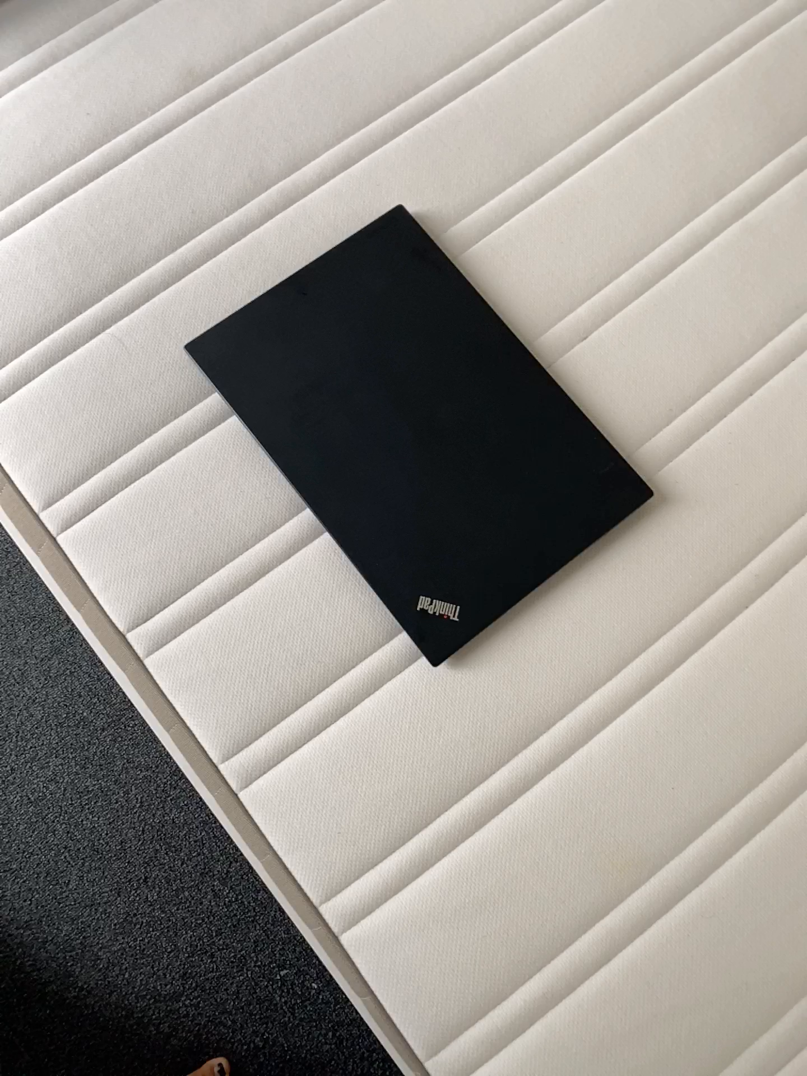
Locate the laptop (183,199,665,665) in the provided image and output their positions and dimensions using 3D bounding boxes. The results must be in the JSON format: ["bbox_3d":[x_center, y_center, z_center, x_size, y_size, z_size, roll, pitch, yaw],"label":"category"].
[{"bbox_3d":[0.016,-0.097,0.653,0.225,0.012,0.325,-37,80,-13],"label":"laptop"}]
